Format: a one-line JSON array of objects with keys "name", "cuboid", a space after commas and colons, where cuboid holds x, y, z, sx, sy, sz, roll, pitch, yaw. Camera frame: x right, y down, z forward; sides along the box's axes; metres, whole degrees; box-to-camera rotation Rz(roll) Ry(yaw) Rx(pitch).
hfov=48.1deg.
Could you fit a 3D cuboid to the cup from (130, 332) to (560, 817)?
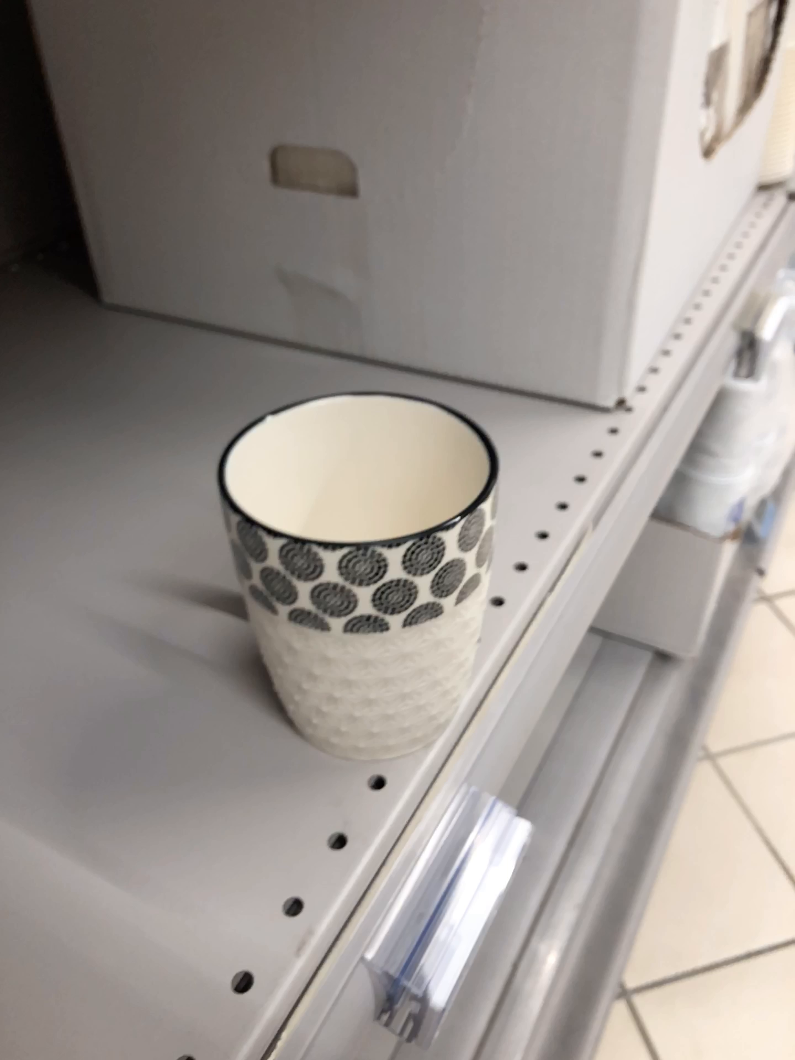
[{"name": "cup", "cuboid": [-0.019, 0.008, 0.300, 0.089, 0.095, 0.106, -23, 43, -25]}]
